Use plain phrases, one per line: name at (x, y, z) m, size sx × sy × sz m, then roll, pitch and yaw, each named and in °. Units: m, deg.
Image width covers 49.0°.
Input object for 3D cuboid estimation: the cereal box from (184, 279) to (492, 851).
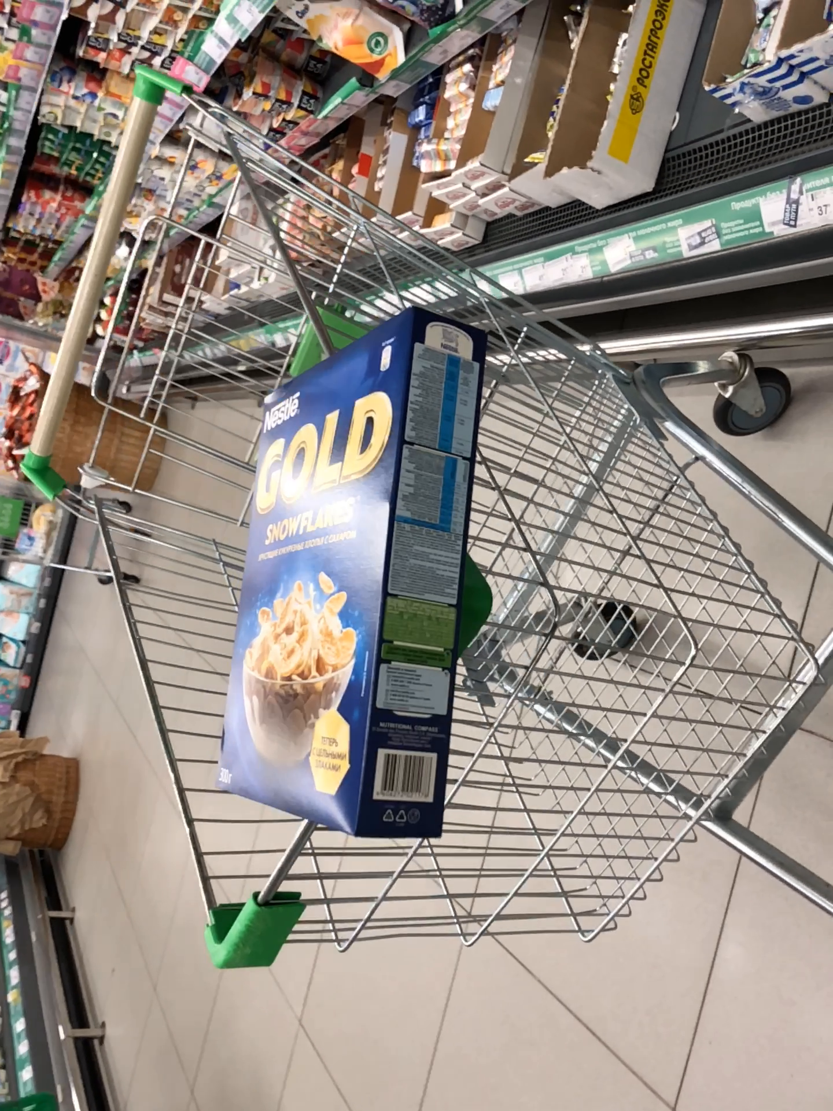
cereal box at (-0.052, 0.010, 0.519) m, size 0.201 × 0.050 × 0.270 m, roll -10°, pitch 71°, yaw 55°
